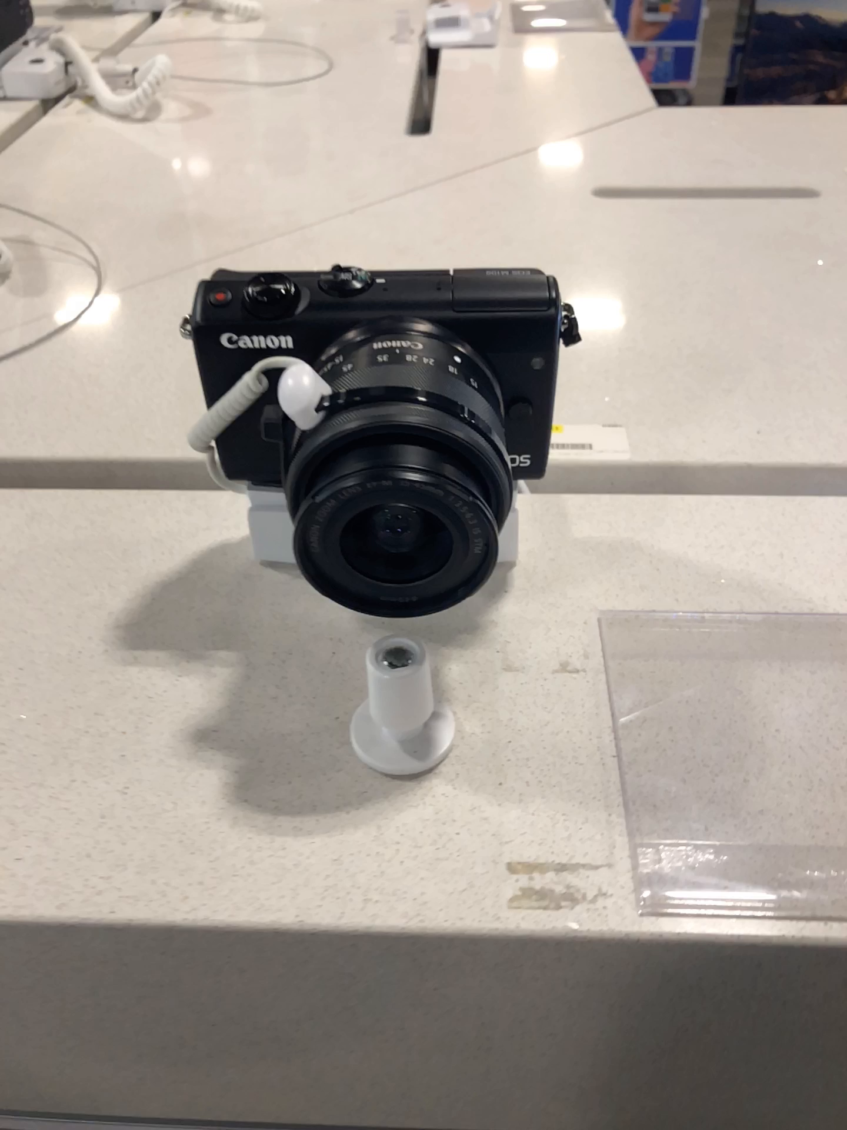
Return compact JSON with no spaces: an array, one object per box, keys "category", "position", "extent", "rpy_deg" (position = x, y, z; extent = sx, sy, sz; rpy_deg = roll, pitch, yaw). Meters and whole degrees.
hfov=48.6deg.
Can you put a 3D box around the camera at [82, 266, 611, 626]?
[{"category":"camera","position":[-0.015,-0.037,0.265],"extent":[0.120,0.060,0.091],"rpy_deg":[1,41,4]}]
